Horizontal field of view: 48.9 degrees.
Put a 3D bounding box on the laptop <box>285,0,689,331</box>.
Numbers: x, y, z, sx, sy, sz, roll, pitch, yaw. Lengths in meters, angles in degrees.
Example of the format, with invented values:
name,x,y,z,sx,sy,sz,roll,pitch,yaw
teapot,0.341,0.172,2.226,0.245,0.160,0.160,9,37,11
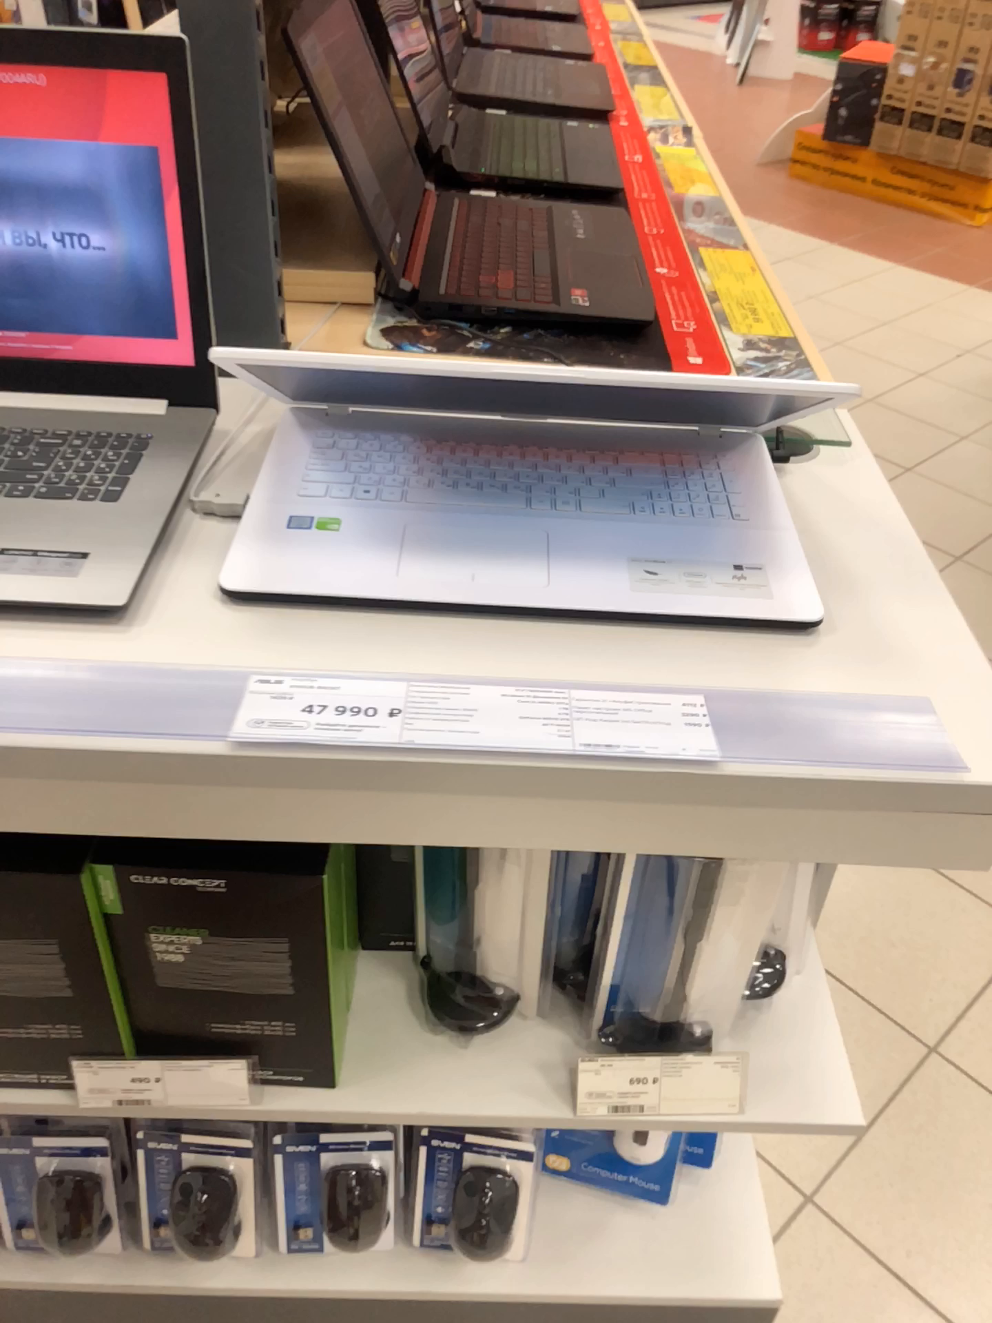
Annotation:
name,x,y,z,sx,sy,sz,roll,pitch,yaw
laptop,-0.019,-0.569,1.178,0.365,0.220,0.379,6,40,3

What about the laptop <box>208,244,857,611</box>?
name,x,y,z,sx,sy,sz,roll,pitch,yaw
laptop,0.022,-0.178,0.797,0.390,0.142,0.258,3,37,-4

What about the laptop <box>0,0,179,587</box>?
name,x,y,z,sx,sy,sz,roll,pitch,yaw
laptop,-0.448,-0.265,0.737,0.392,0.262,0.338,1,37,-4
